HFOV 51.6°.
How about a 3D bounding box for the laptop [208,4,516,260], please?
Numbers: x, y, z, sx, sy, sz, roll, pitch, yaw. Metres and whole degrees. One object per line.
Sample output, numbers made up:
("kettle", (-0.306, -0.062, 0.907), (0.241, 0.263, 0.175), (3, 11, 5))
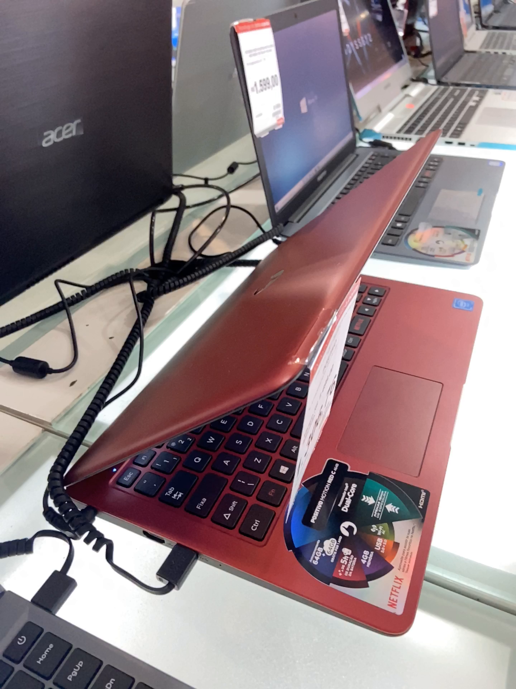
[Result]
("laptop", (0.174, -0.293, 0.670), (0.276, 0.207, 0.386), (13, 37, 17))

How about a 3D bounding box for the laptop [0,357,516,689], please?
("laptop", (-0.115, 0.119, 0.090), (0.285, 0.159, 0.235), (8, 26, 12))

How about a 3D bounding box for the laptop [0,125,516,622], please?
("laptop", (0.044, -0.031, 0.373), (0.212, 0.144, 0.322), (13, 39, 21))
